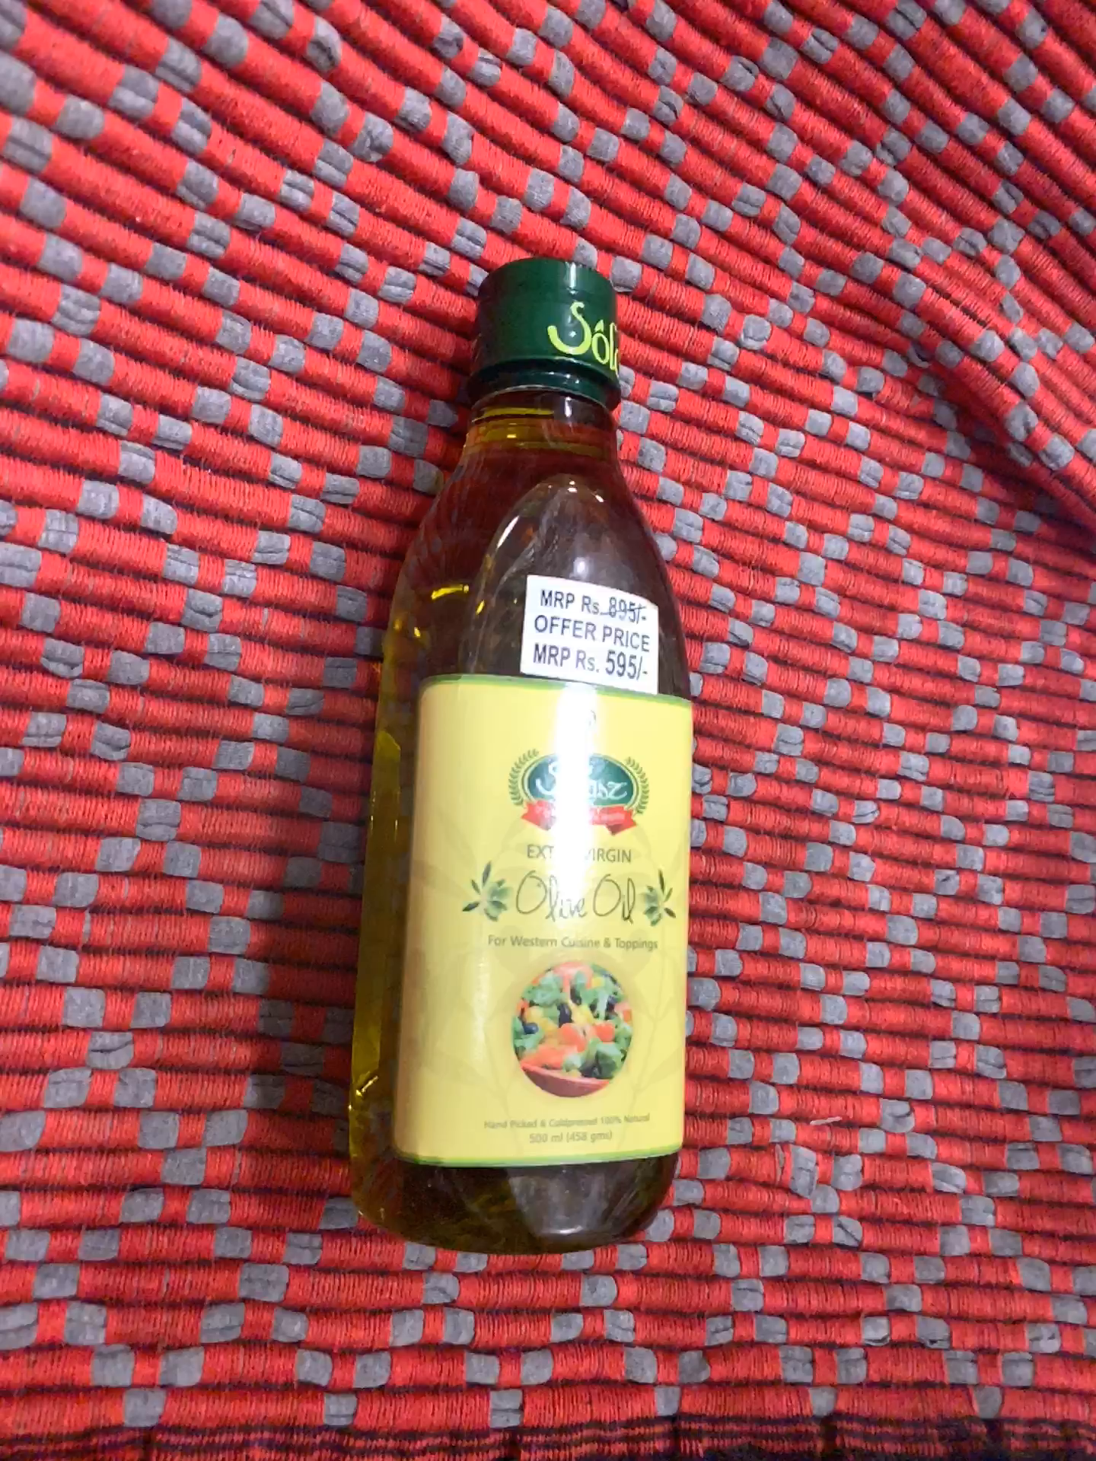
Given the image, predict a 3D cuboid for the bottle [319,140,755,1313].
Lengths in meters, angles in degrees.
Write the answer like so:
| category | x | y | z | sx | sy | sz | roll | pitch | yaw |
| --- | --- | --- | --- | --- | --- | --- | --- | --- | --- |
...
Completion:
| category | x | y | z | sx | sy | sz | roll | pitch | yaw |
| --- | --- | --- | --- | --- | --- | --- | --- | --- | --- |
| bottle | -0.003 | -0.002 | 0.232 | 0.060 | 0.070 | 0.200 | 6 | 78 | -22 |
